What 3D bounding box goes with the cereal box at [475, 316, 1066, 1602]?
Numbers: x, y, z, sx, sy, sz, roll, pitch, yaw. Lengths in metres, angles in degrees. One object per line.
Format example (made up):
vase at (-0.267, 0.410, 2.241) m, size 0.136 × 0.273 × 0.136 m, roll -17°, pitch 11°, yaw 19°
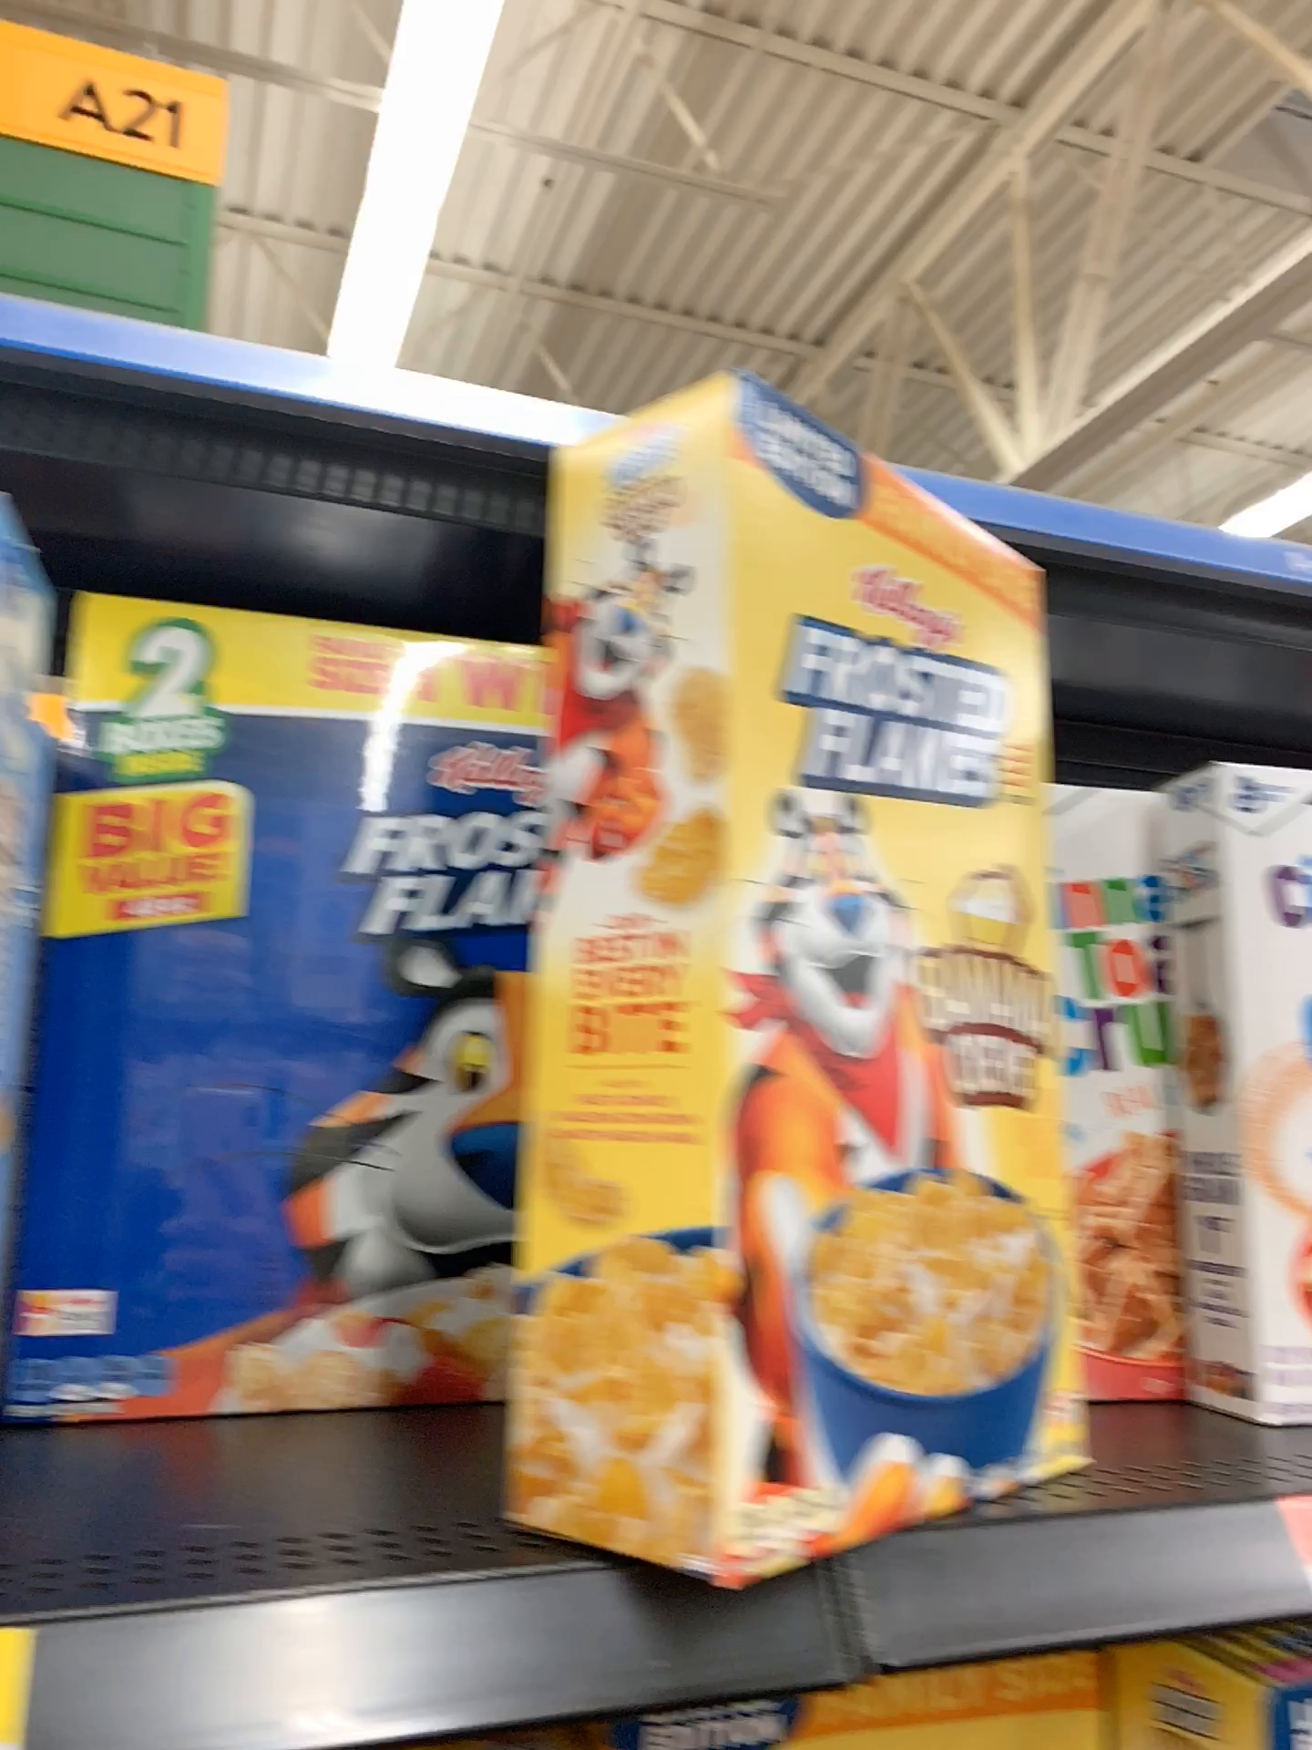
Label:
cereal box at (0.051, 0.026, 0.454) m, size 0.080 × 0.341 × 0.200 m, roll -9°, pitch -15°, yaw 40°
